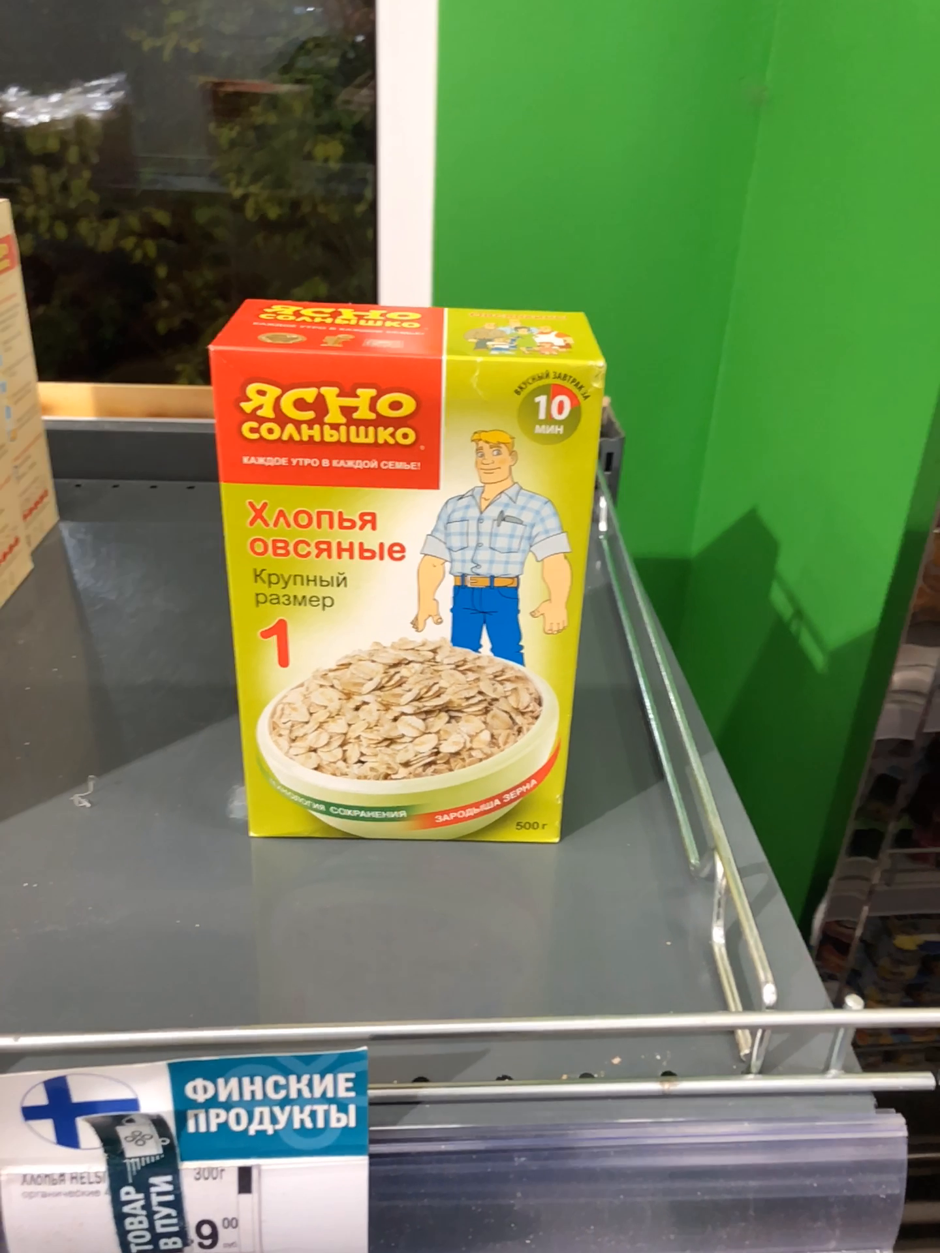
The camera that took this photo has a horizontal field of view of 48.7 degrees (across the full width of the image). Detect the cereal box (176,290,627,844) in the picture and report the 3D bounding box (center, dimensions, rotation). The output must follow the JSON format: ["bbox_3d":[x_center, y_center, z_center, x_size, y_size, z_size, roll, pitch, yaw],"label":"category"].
[{"bbox_3d":[-0.024,-0.019,0.377,0.130,0.179,0.080,2,29,-2],"label":"cereal box"}]
